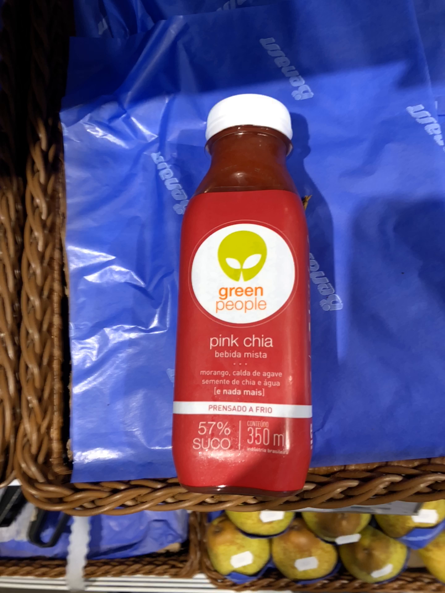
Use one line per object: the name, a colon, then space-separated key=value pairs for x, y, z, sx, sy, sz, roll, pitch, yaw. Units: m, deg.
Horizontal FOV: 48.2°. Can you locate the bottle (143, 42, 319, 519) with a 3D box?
bottle: x=0.011 y=-0.010 z=0.226 sx=0.060 sy=0.060 sz=0.190 roll=0 pitch=77 yaw=13
